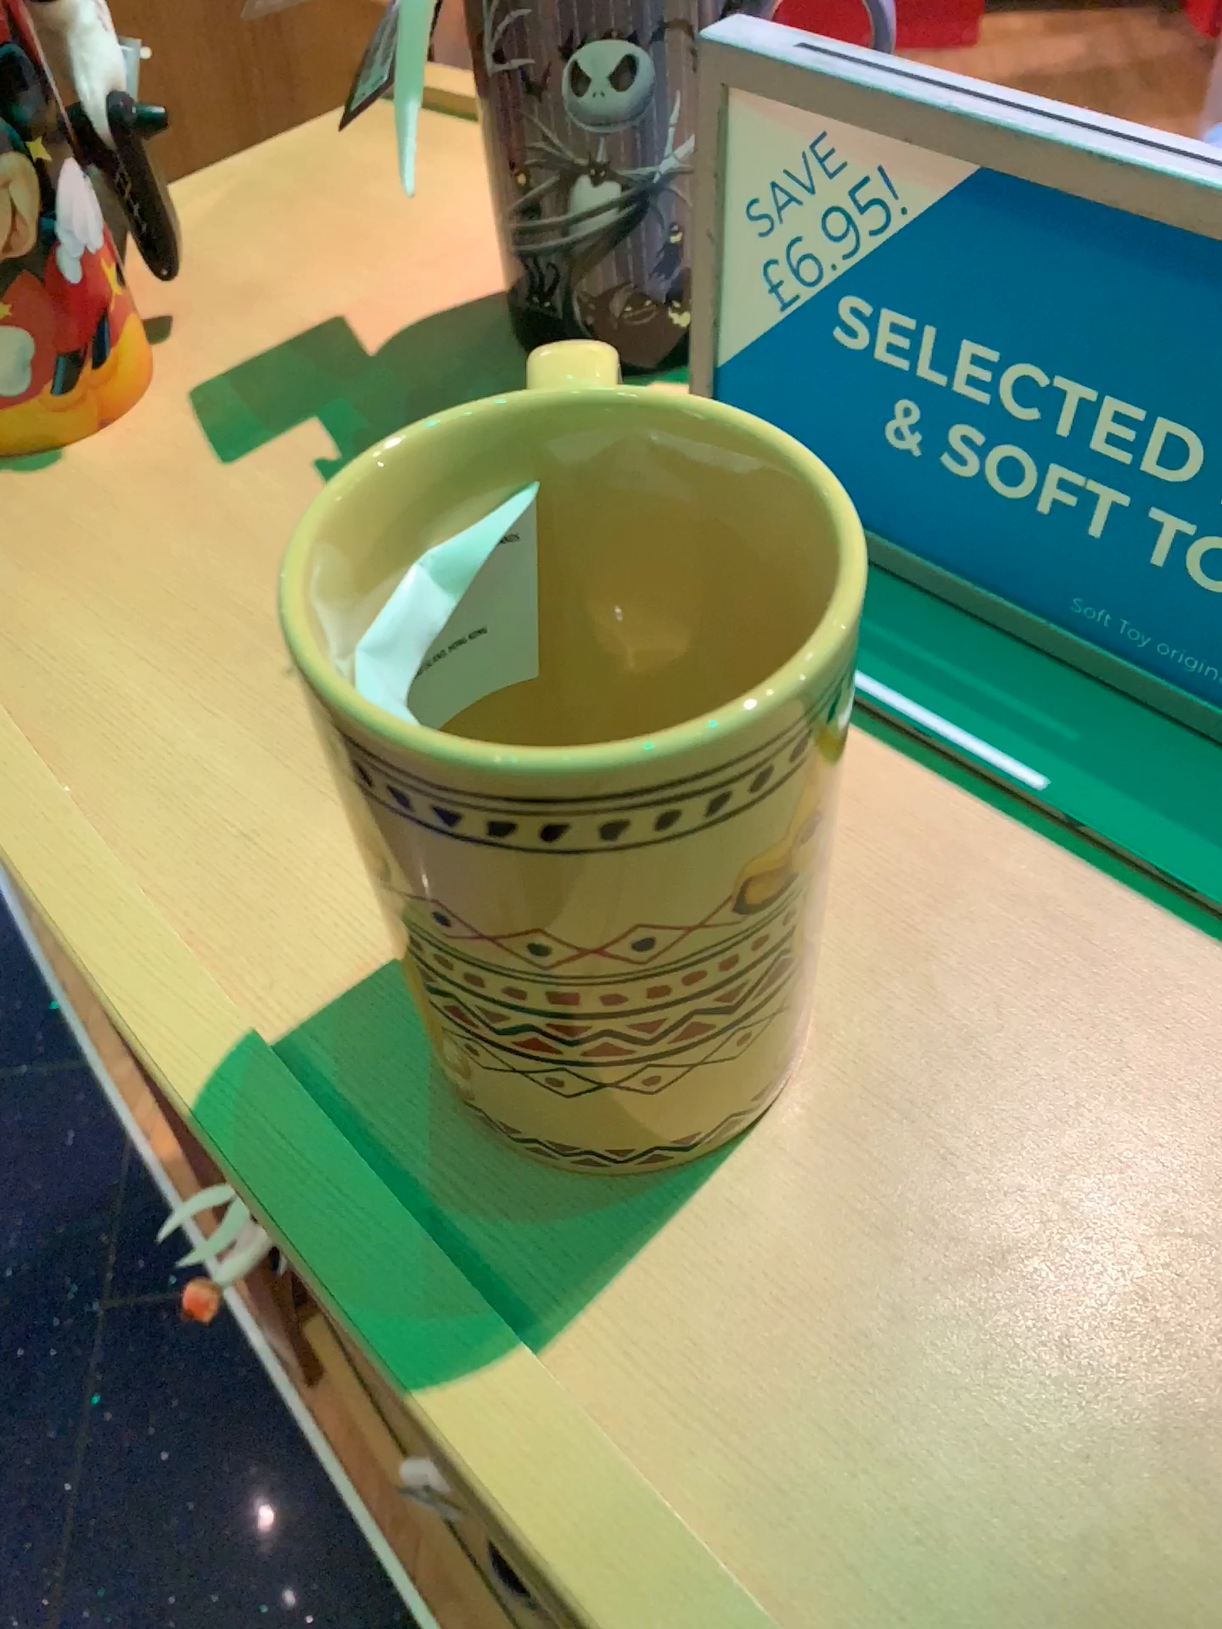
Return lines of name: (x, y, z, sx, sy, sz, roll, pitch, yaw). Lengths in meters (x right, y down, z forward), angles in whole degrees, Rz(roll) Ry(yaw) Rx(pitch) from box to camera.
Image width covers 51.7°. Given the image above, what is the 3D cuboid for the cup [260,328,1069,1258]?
cup: (0.001, -0.002, 0.239, 0.100, 0.121, 0.120, -4, 50, -4)
